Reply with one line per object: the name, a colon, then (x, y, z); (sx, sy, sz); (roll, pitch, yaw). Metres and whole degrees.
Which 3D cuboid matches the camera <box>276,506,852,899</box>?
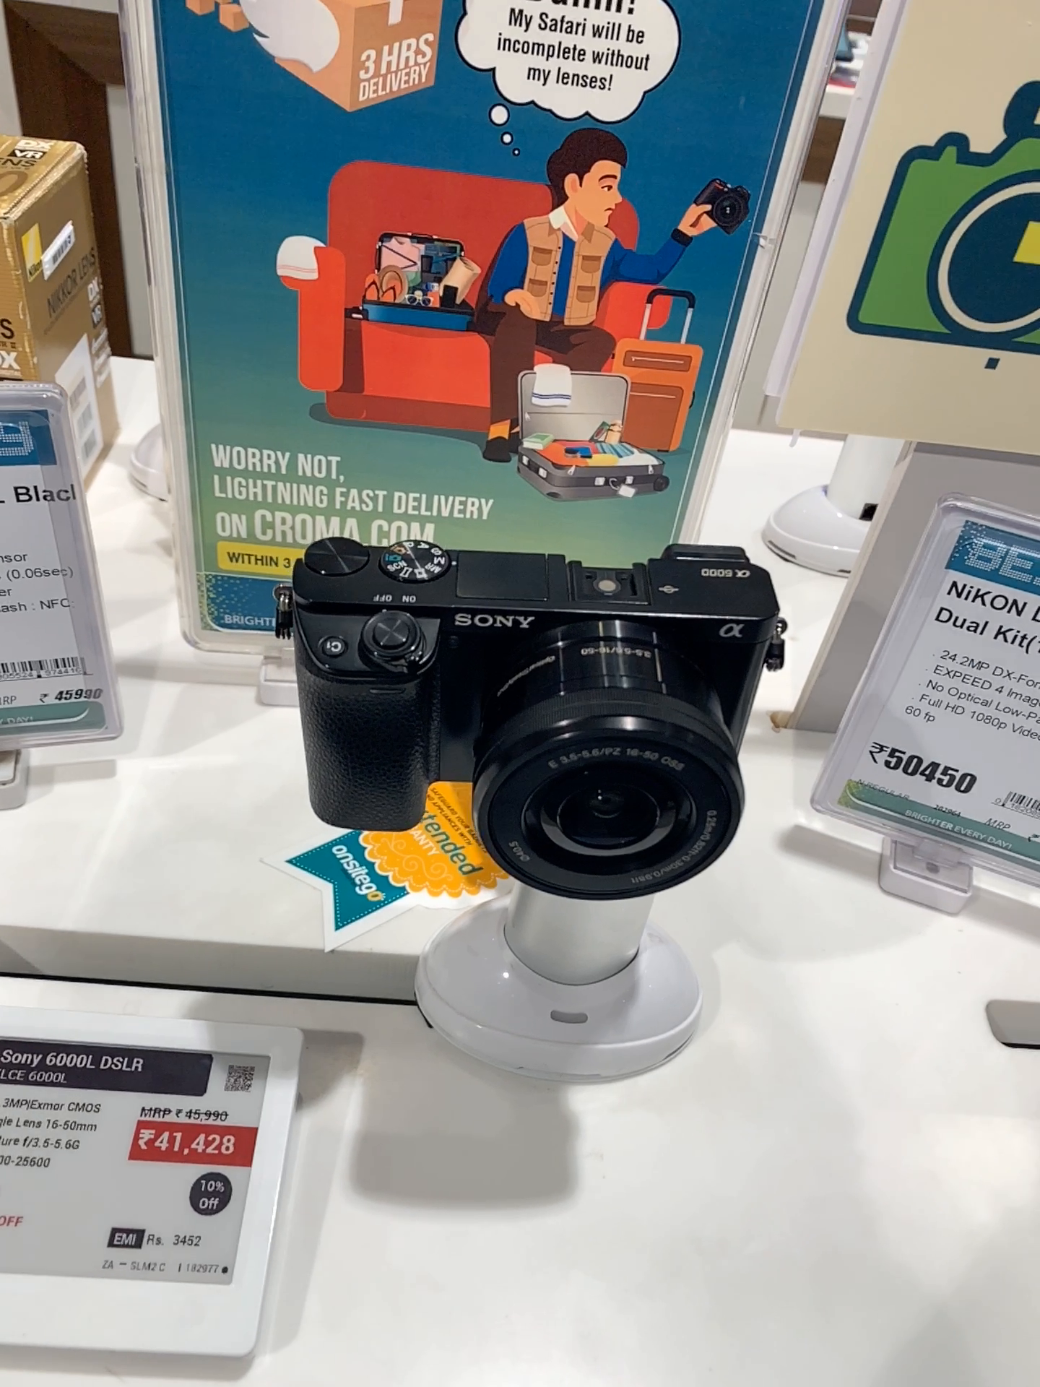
camera: (0.004, 0.004, 0.260); (0.118, 0.073, 0.056); (2, 41, -8)
